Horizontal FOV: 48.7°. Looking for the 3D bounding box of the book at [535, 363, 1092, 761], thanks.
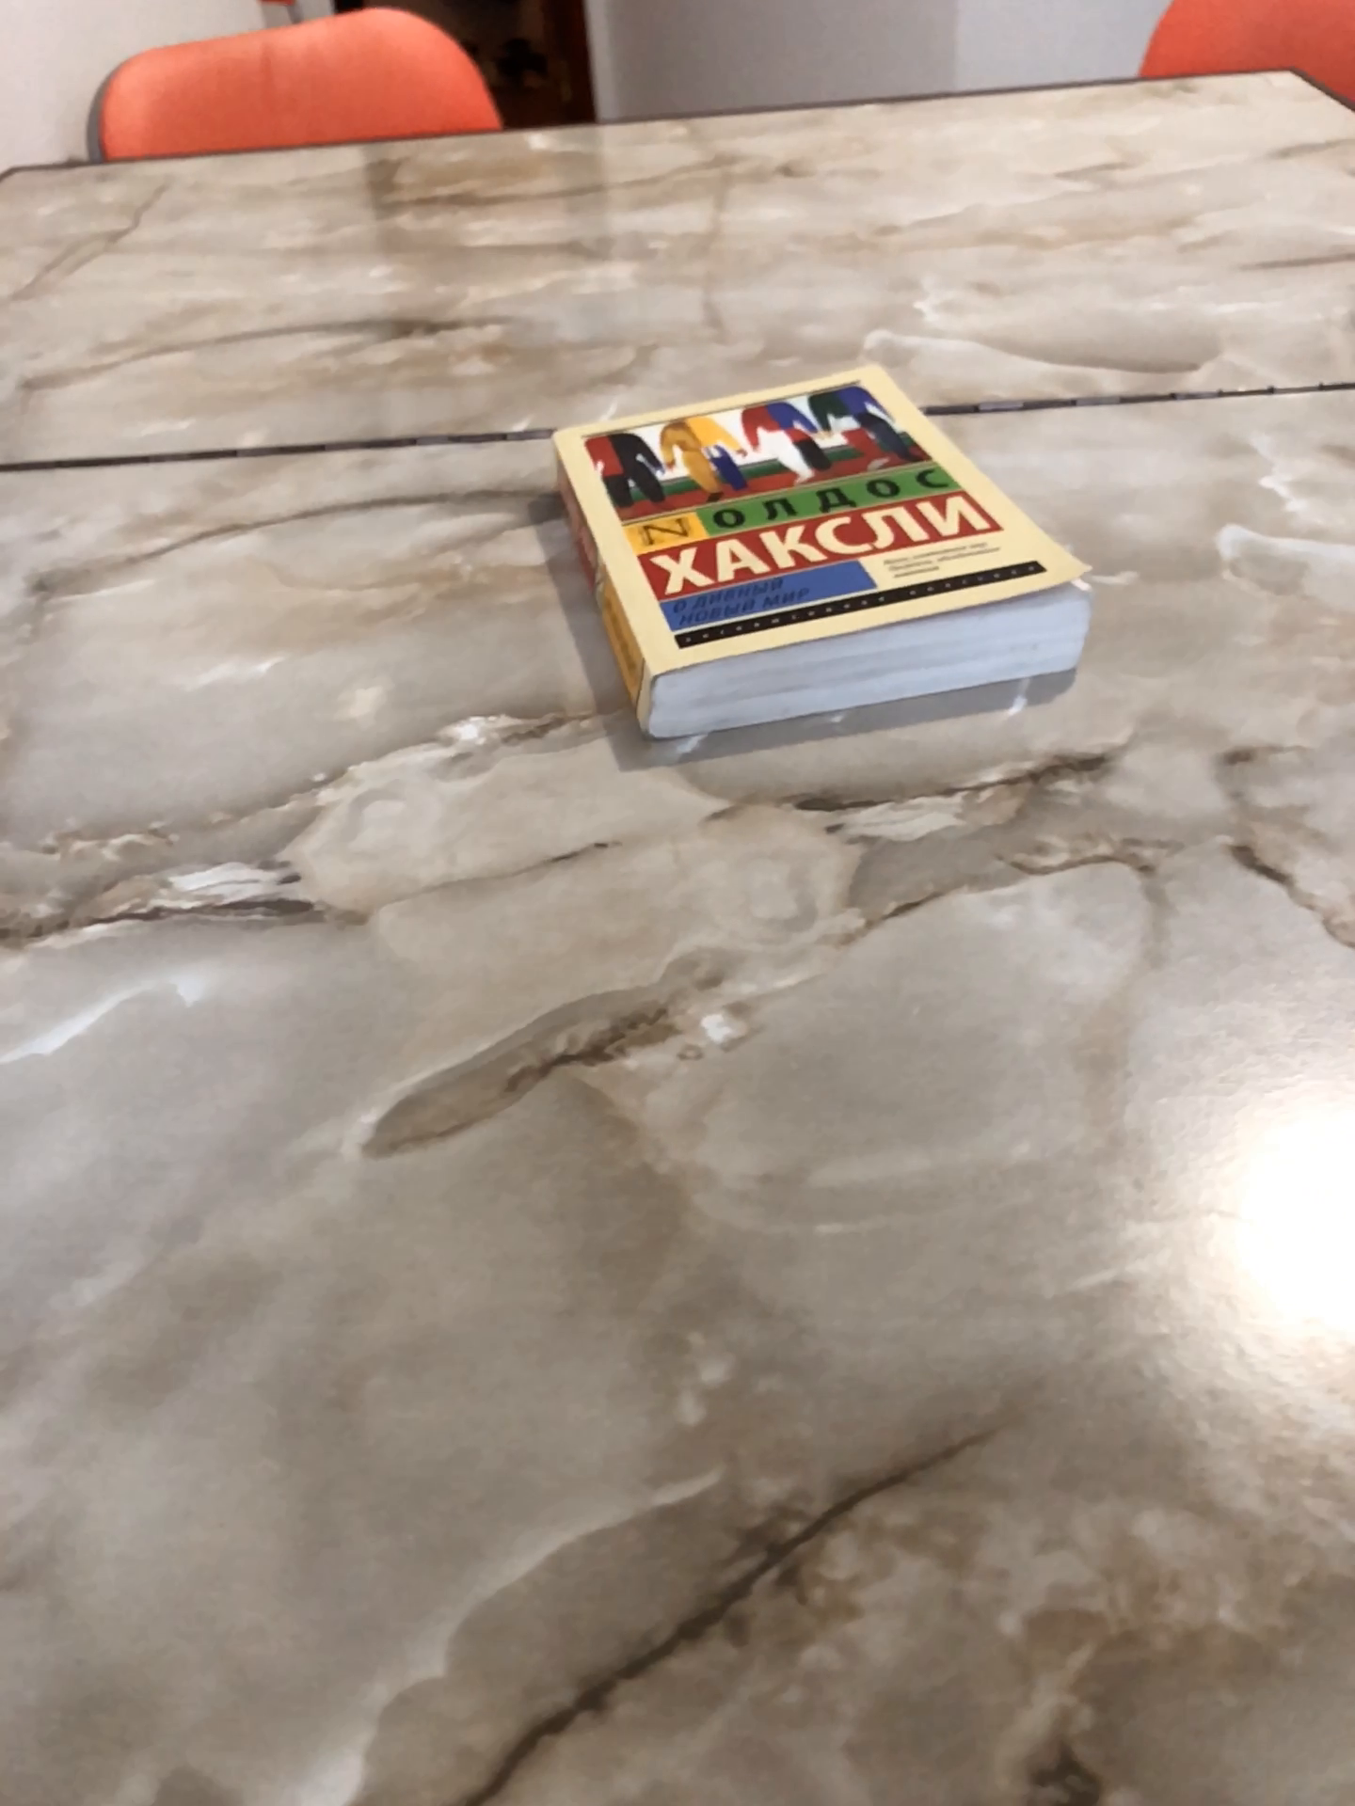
[{"bbox_3d":[0.029,-0.111,0.447,0.120,0.028,0.185,-10,37,-6],"label":"book"}]
